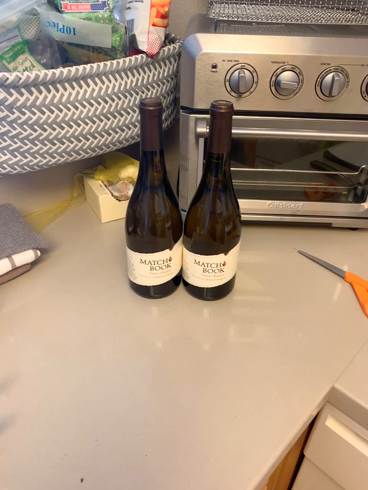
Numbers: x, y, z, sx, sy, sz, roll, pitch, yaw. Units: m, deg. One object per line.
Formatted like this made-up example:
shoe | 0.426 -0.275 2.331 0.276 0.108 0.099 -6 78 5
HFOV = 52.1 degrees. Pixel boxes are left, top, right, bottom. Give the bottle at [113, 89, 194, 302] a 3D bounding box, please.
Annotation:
bottle | -0.042 -0.058 0.538 0.090 0.288 0.091 1 36 -1

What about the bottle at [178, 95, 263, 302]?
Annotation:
bottle | 0.038 -0.053 0.529 0.090 0.278 0.091 1 36 -1
